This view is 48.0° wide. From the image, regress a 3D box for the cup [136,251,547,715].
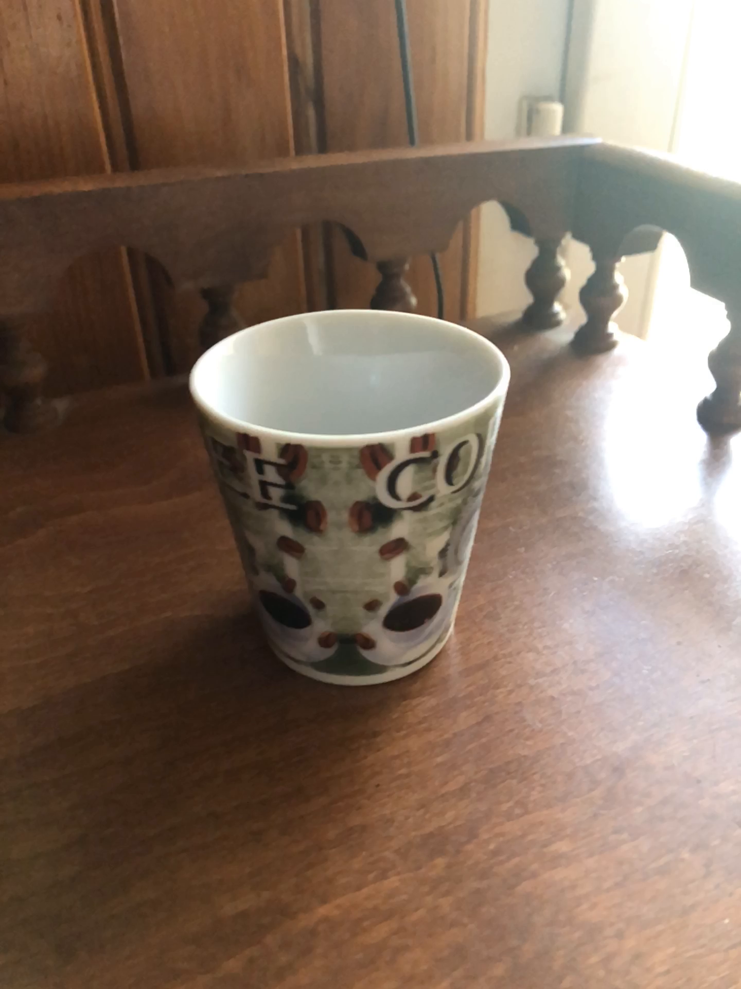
[{"bbox_3d":[-0.001,-0.008,0.170,0.060,0.060,0.081,1,33,4],"label":"cup"}]
